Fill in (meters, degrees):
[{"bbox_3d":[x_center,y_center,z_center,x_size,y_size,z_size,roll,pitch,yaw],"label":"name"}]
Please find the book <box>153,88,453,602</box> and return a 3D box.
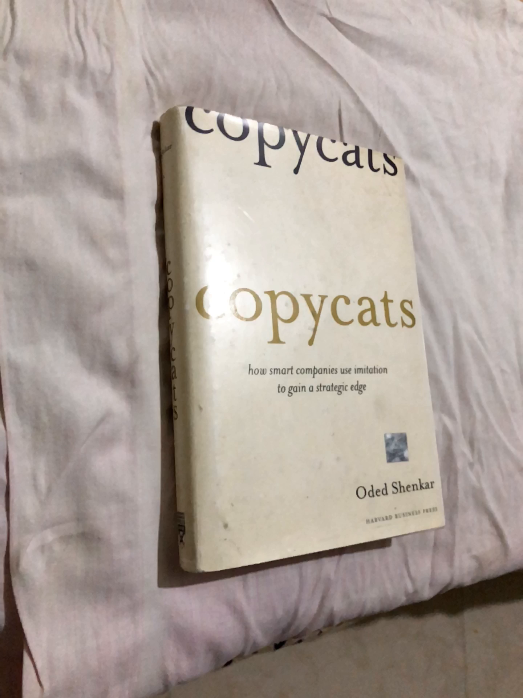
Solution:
[{"bbox_3d":[0.022,-0.003,0.311,0.151,0.040,0.230,3,79,-28],"label":"book"}]
